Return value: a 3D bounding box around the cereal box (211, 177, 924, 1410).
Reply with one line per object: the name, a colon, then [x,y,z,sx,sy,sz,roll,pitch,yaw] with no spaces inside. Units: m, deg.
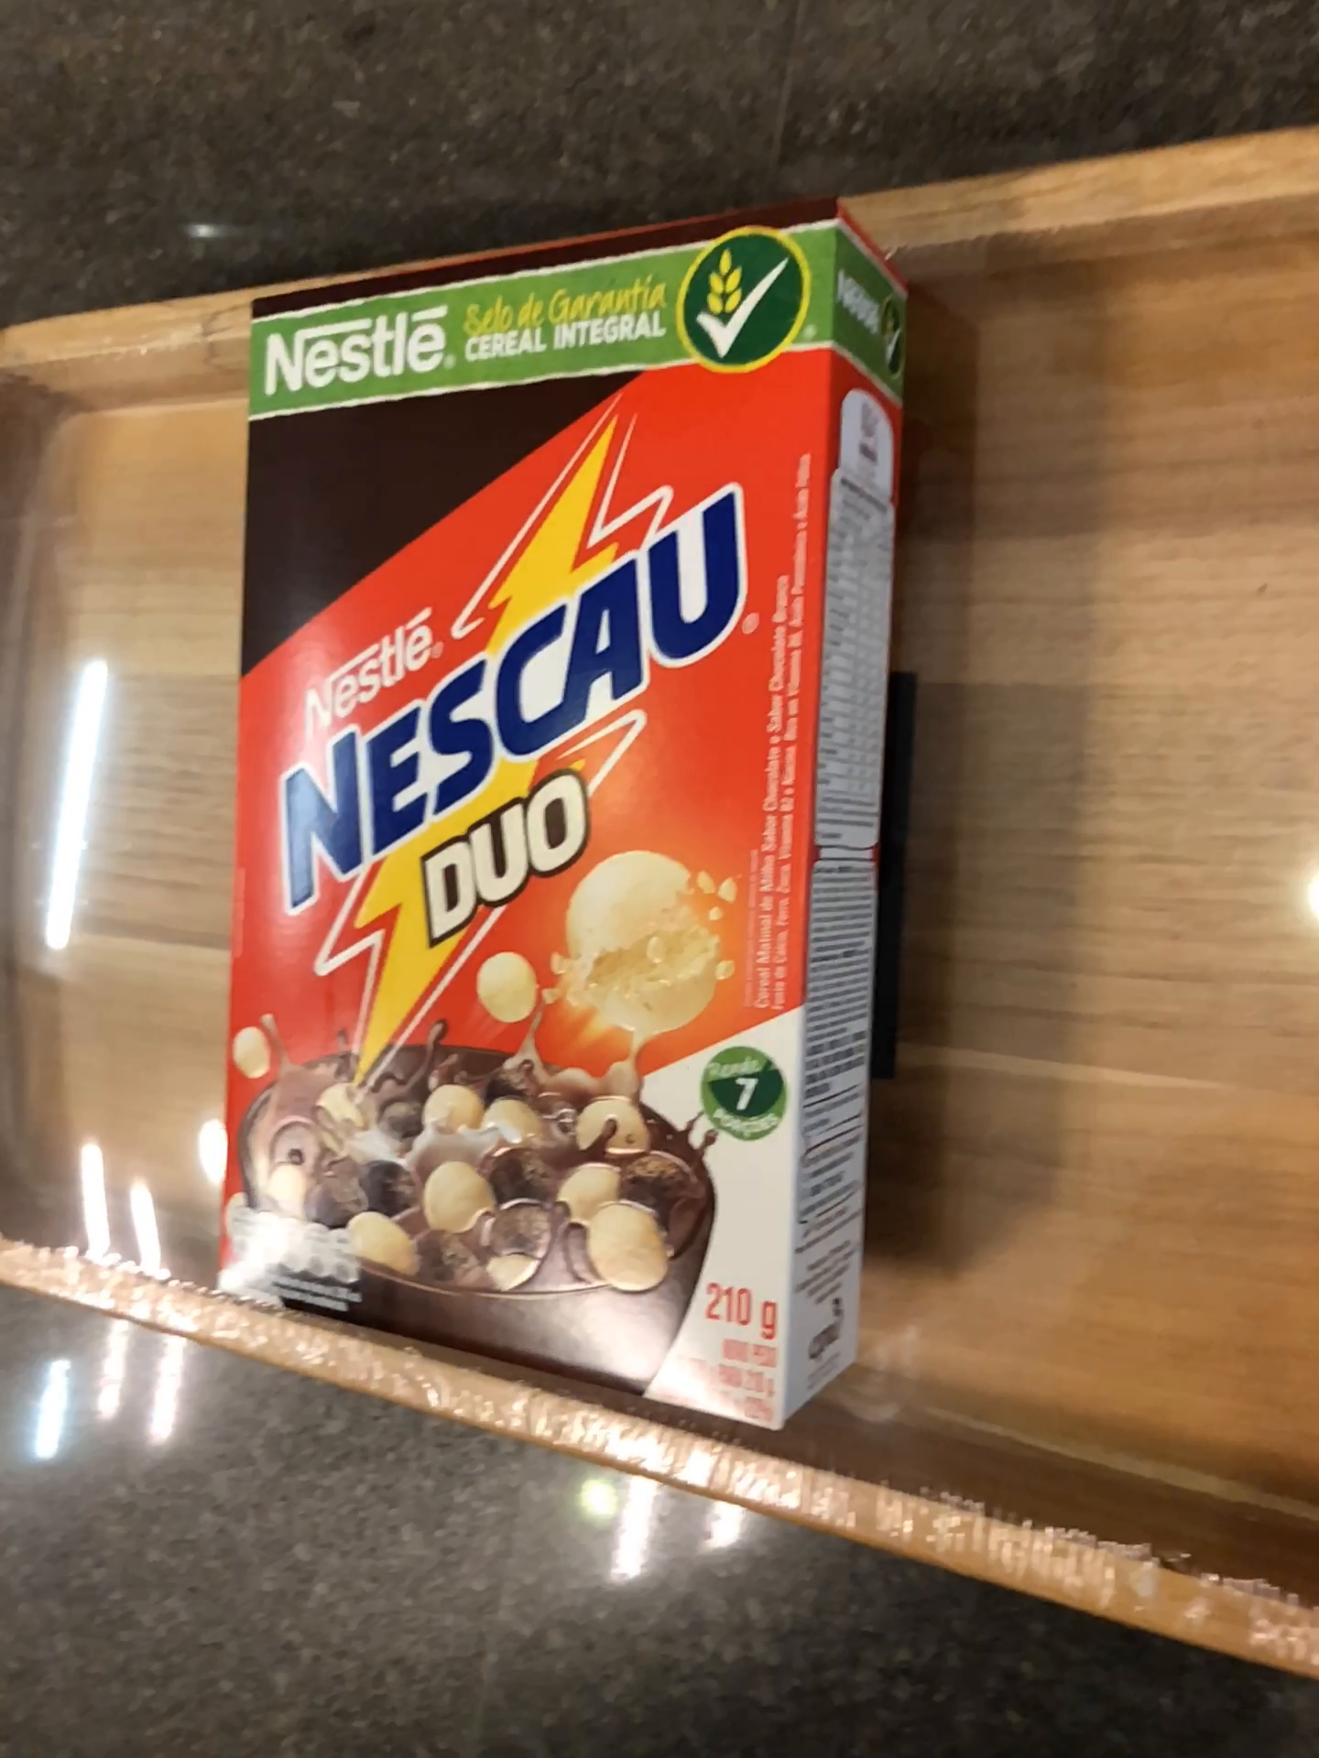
cereal box: [-0.027,-0.020,0.357,0.161,0.050,0.250,4,92,28]
